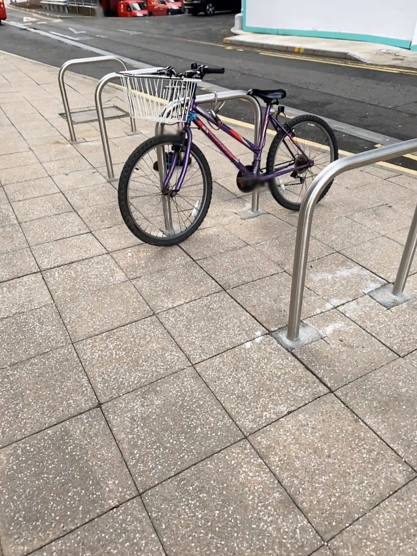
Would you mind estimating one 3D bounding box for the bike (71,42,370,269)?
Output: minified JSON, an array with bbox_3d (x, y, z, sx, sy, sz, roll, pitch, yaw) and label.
[{"bbox_3d":[0.164,-0.883,2.746,1.737,1.042,0.583,-21,38,-27],"label":"bike"}]
